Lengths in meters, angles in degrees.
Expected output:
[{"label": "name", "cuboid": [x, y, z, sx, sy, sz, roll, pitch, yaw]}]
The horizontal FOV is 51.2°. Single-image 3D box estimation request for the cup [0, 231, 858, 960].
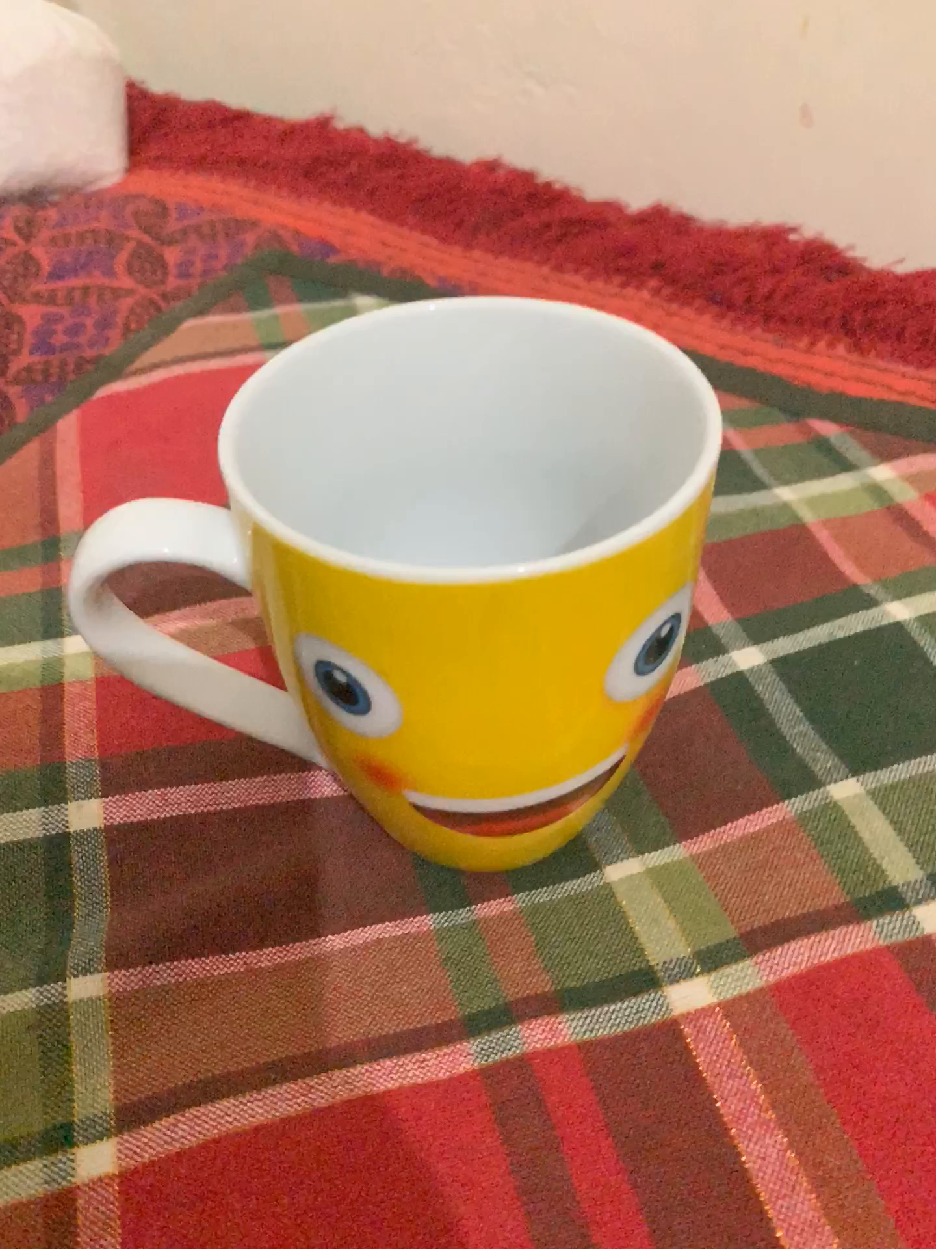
[{"label": "cup", "cuboid": [-0.016, -0.006, 0.171, 0.120, 0.080, 0.080, -7, 46, -3]}]
